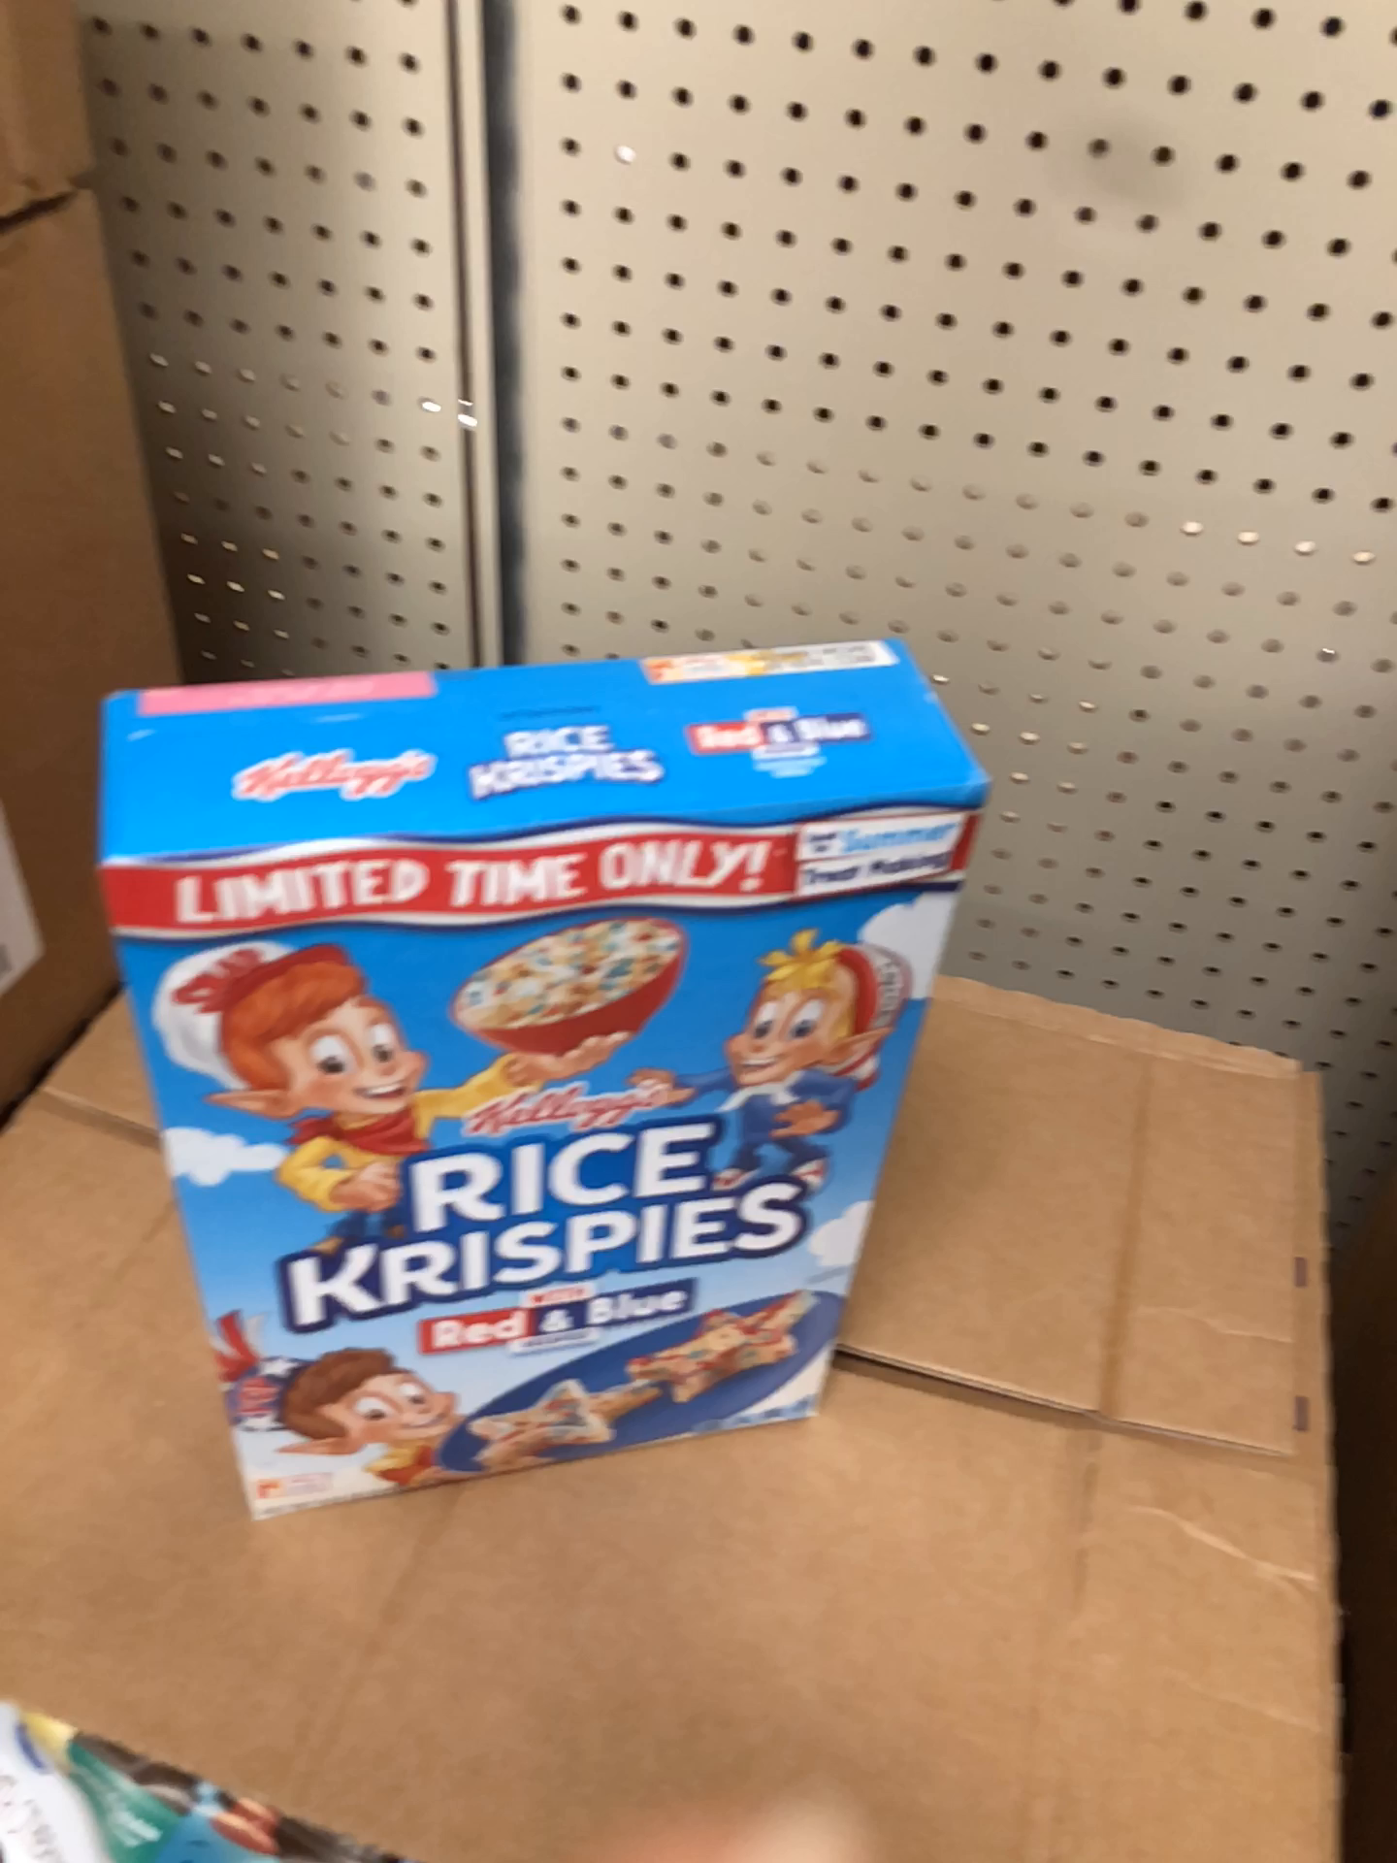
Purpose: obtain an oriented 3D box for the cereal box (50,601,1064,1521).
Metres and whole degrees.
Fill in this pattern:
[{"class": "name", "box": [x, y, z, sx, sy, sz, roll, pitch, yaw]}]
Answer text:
[{"class": "cereal box", "box": [-0.039, 0.052, 0.418, 0.200, 0.279, 0.060, -6, 46, -13]}]
